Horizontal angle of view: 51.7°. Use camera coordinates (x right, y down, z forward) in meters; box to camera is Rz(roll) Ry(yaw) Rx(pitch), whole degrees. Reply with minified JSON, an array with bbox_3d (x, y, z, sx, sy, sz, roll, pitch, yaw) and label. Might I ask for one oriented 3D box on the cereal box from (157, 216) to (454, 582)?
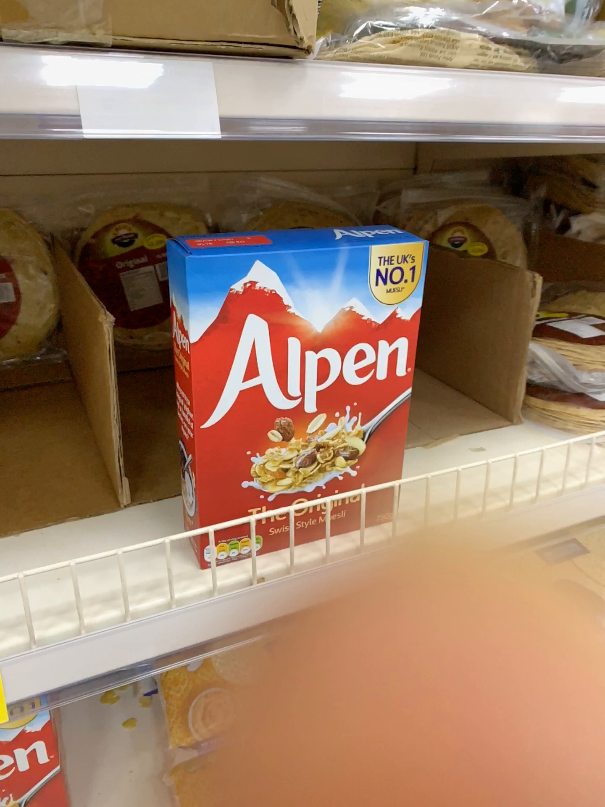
[{"bbox_3d":[0.002,-0.010,0.470,0.190,0.238,0.070,-10,25,-24],"label":"cereal box"}]
